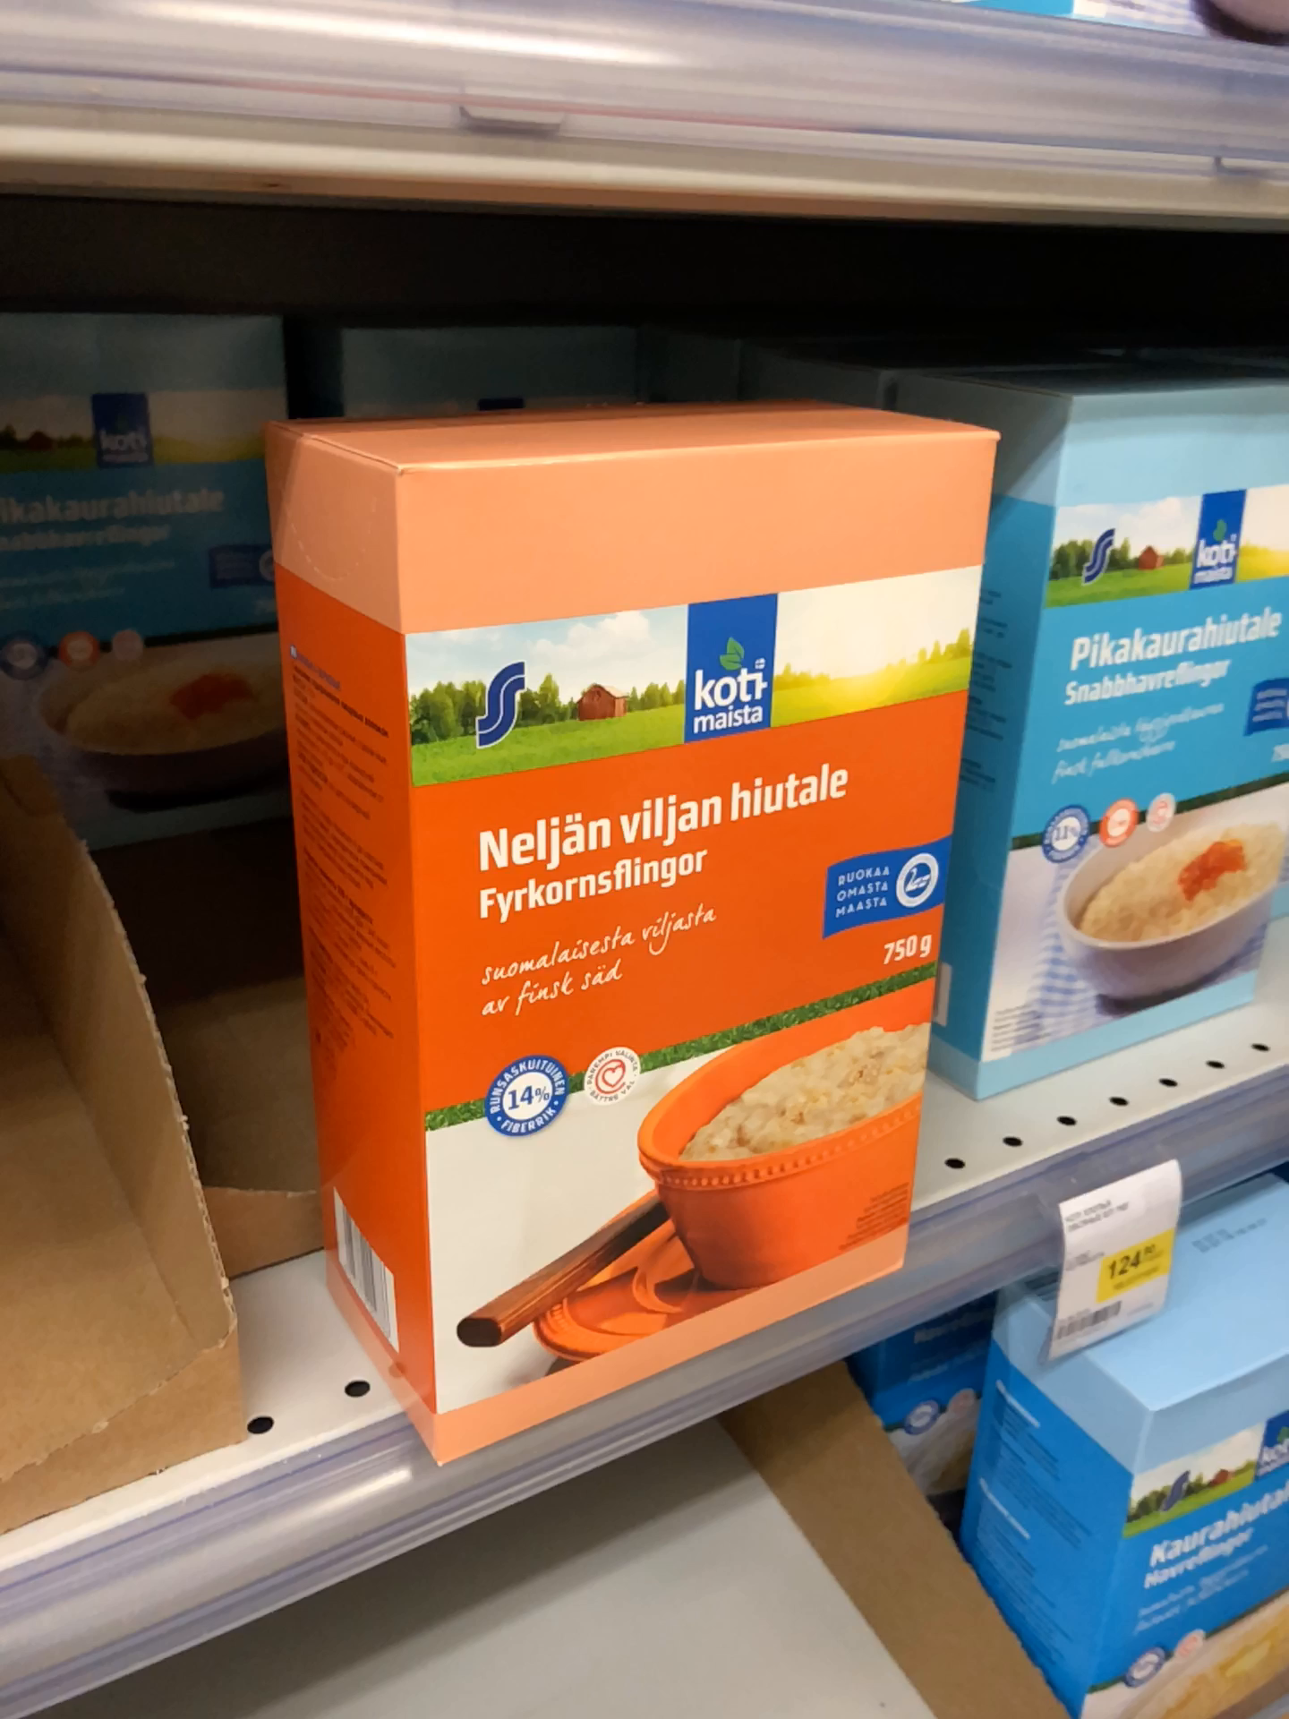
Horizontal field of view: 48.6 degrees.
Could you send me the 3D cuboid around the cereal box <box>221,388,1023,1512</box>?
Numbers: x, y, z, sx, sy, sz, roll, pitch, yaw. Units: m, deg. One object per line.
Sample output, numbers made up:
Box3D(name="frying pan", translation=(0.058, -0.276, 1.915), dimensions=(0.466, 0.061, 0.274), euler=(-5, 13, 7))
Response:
Box3D(name="cereal box", translation=(-0.004, 0.012, 0.345), dimensions=(0.150, 0.229, 0.080), euler=(-12, 25, -29))
